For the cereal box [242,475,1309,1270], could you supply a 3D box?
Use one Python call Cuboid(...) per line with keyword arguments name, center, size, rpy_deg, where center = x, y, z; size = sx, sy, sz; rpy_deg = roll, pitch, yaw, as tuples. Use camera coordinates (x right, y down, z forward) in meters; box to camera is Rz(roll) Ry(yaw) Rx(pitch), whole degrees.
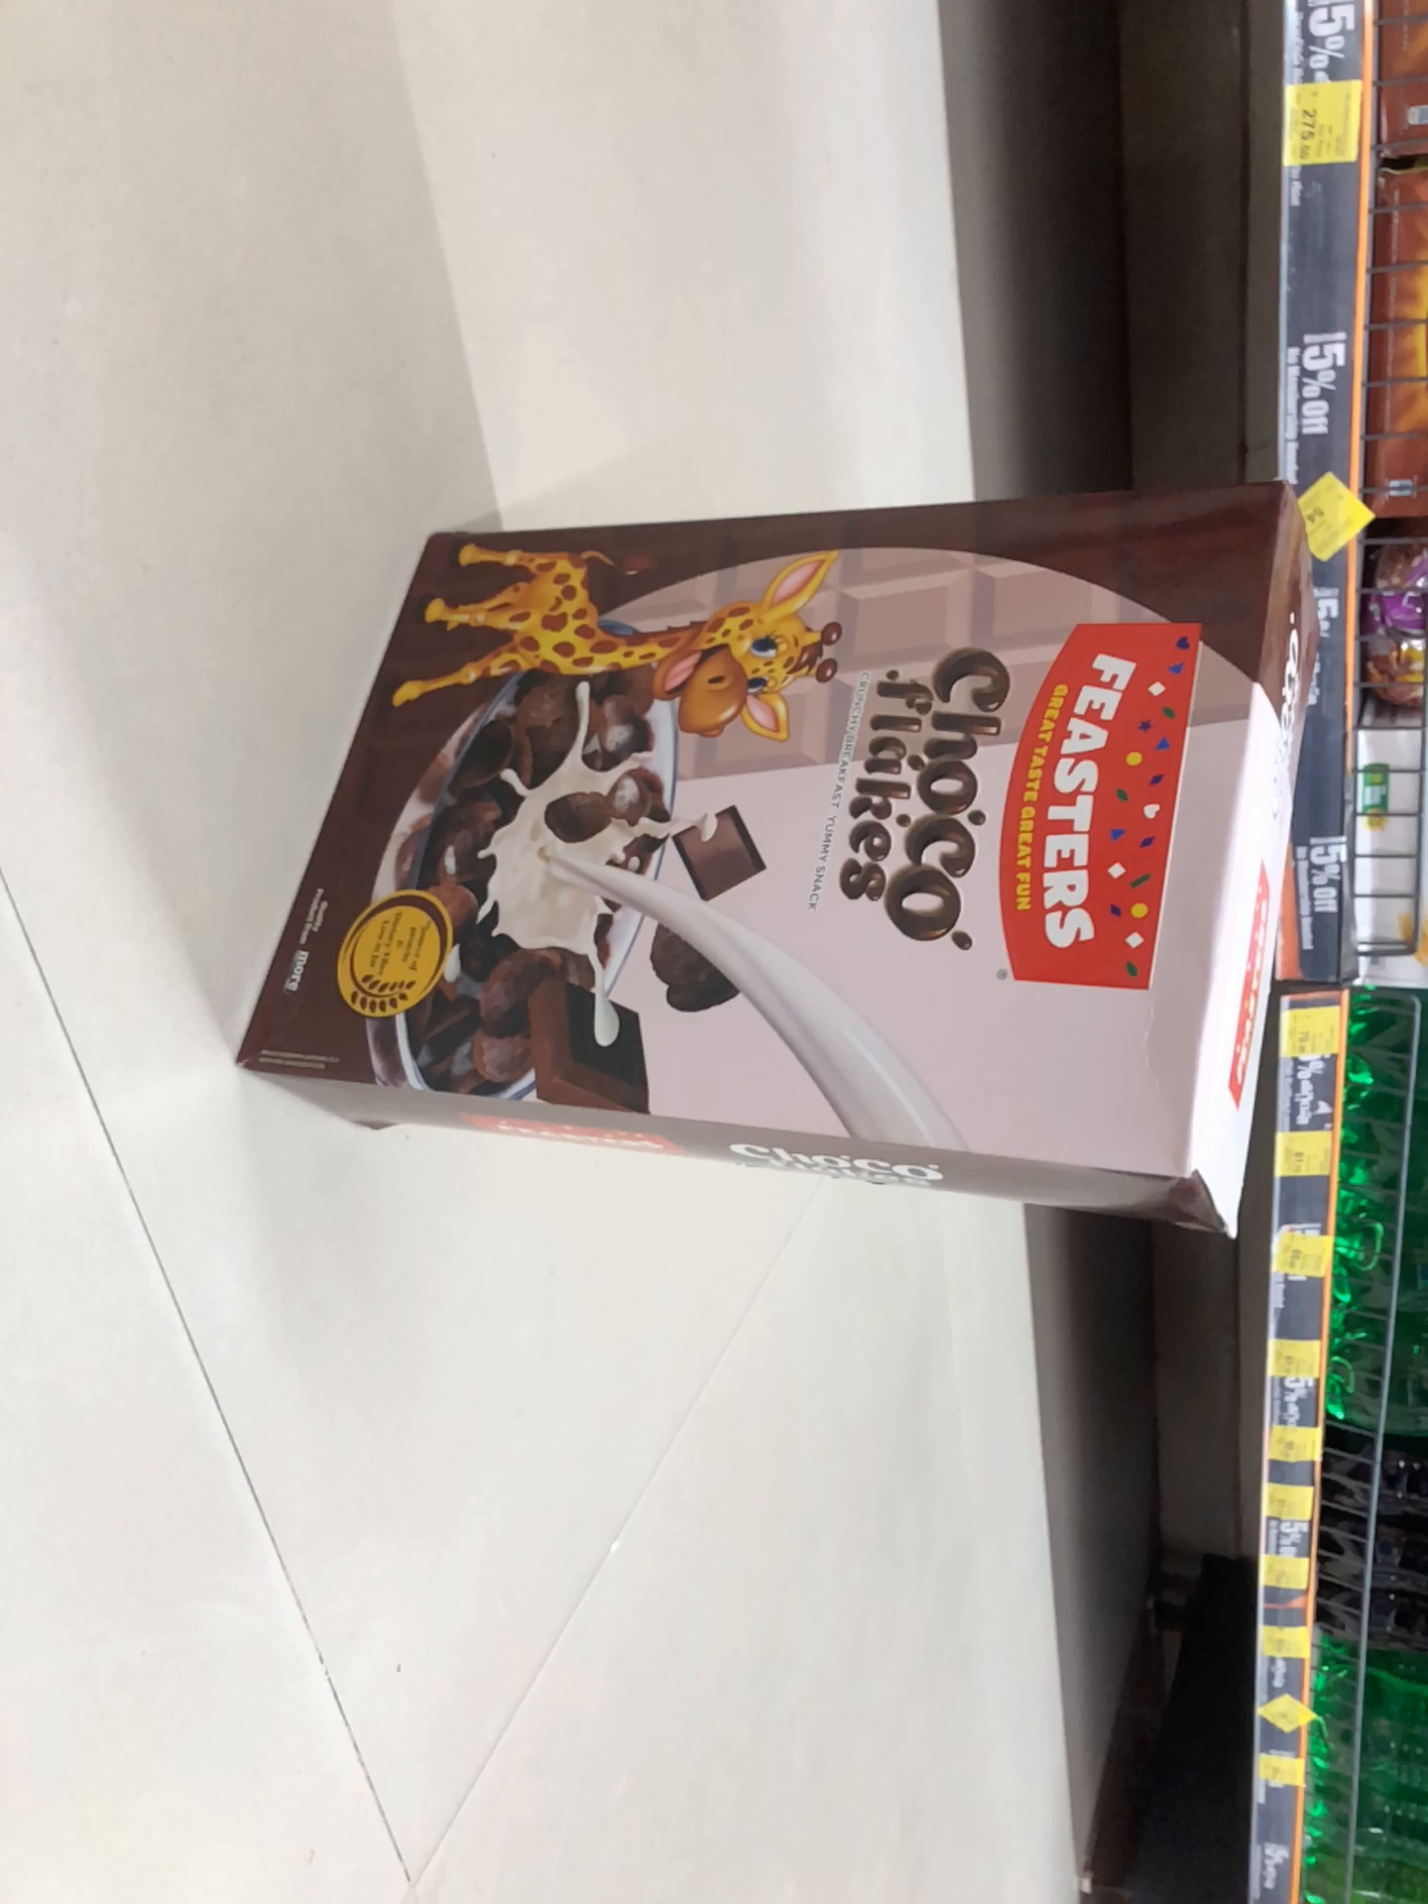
Cuboid(name="cereal box", center=(0.020, -0.030, 0.442), size=(0.060, 0.258, 0.190), rpy_deg=(50, 49, -57))
